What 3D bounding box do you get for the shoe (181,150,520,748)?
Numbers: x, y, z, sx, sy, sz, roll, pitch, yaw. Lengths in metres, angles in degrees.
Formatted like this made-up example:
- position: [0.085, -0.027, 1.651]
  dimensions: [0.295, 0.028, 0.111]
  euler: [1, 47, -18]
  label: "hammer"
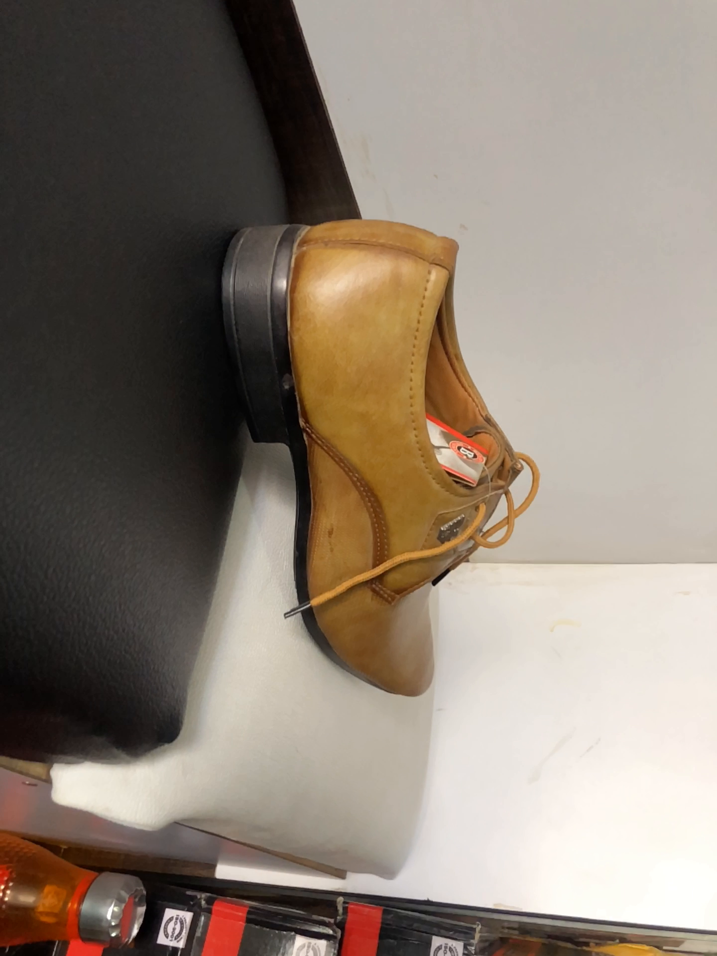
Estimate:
- position: [0.022, 0.010, 0.388]
  dimensions: [0.100, 0.090, 0.291]
  euler: [-76, 158, -45]
  label: "shoe"
